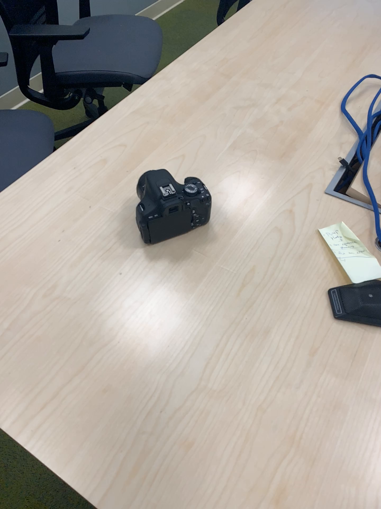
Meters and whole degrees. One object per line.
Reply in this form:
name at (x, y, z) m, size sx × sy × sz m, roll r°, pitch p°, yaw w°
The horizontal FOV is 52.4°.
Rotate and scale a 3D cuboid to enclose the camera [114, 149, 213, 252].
camera at (-0.048, -0.098, 0.683) m, size 0.129 × 0.085 × 0.128 m, roll -20°, pitch 54°, yaw -14°
